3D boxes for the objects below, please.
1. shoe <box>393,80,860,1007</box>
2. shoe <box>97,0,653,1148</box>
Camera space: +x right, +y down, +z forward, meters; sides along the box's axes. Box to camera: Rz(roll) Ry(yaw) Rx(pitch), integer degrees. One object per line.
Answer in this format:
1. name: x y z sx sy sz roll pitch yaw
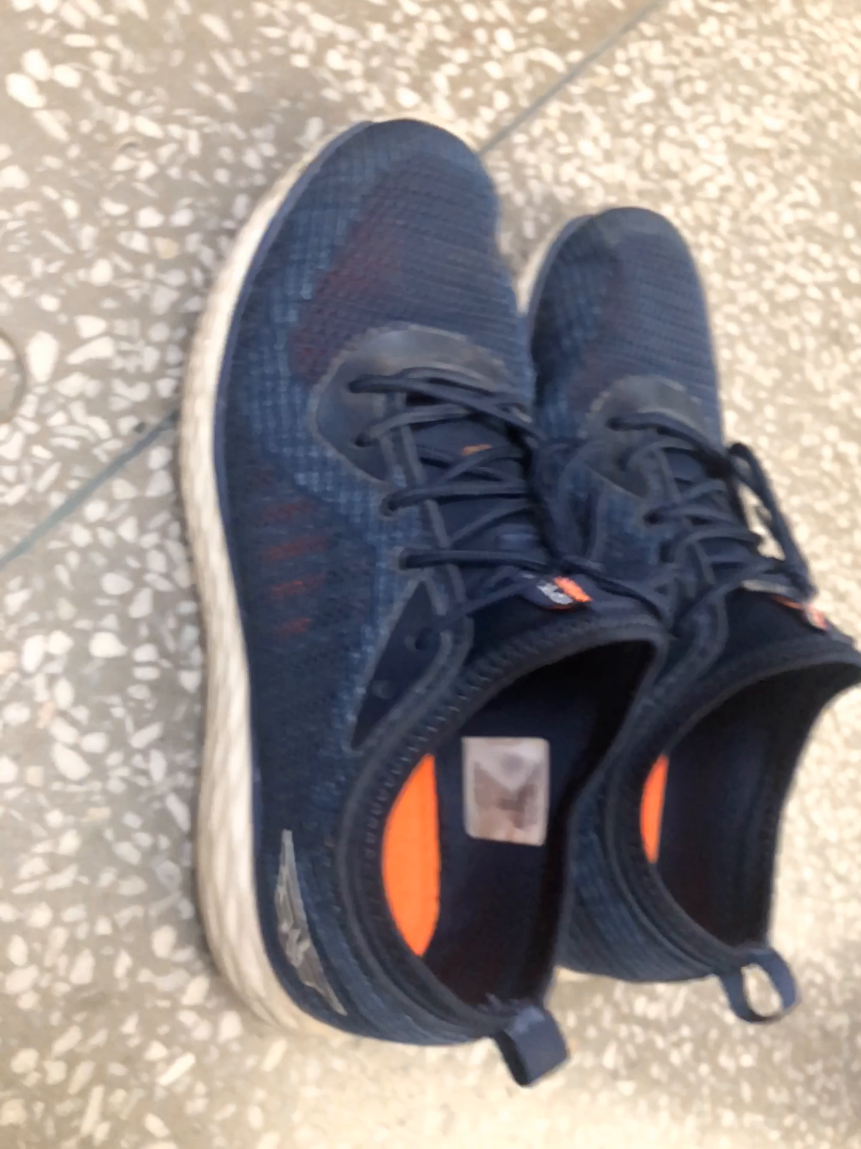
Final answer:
1. shoe: 0.072 -0.006 0.336 0.124 0.100 0.249 5 87 -35
2. shoe: -0.017 -0.006 0.273 0.114 0.100 0.249 3 88 -35
